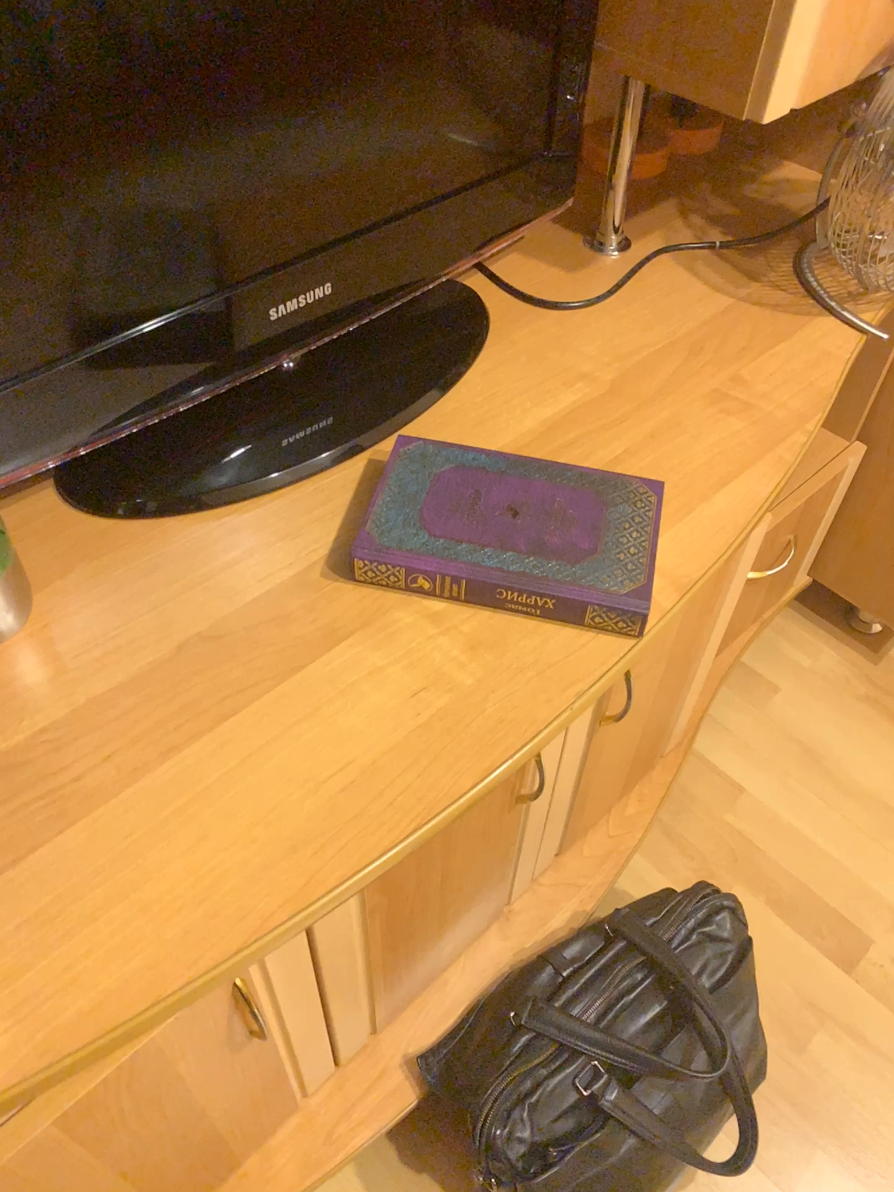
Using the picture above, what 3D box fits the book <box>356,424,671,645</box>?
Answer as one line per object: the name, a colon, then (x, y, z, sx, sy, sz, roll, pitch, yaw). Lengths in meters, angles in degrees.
book: (0.051, -0.048, 0.644, 0.200, 0.040, 0.131, 12, 49, 6)
